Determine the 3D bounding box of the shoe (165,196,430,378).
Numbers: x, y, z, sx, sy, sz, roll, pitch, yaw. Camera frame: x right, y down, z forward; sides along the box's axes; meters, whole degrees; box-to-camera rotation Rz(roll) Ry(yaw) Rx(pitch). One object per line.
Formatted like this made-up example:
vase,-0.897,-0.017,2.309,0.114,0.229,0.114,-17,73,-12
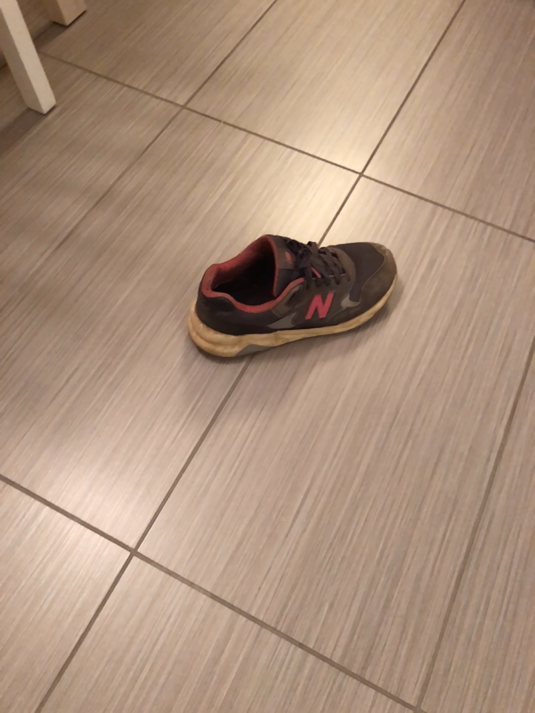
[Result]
shoe,0.033,-0.085,0.687,0.270,0.070,0.120,-19,63,-12
